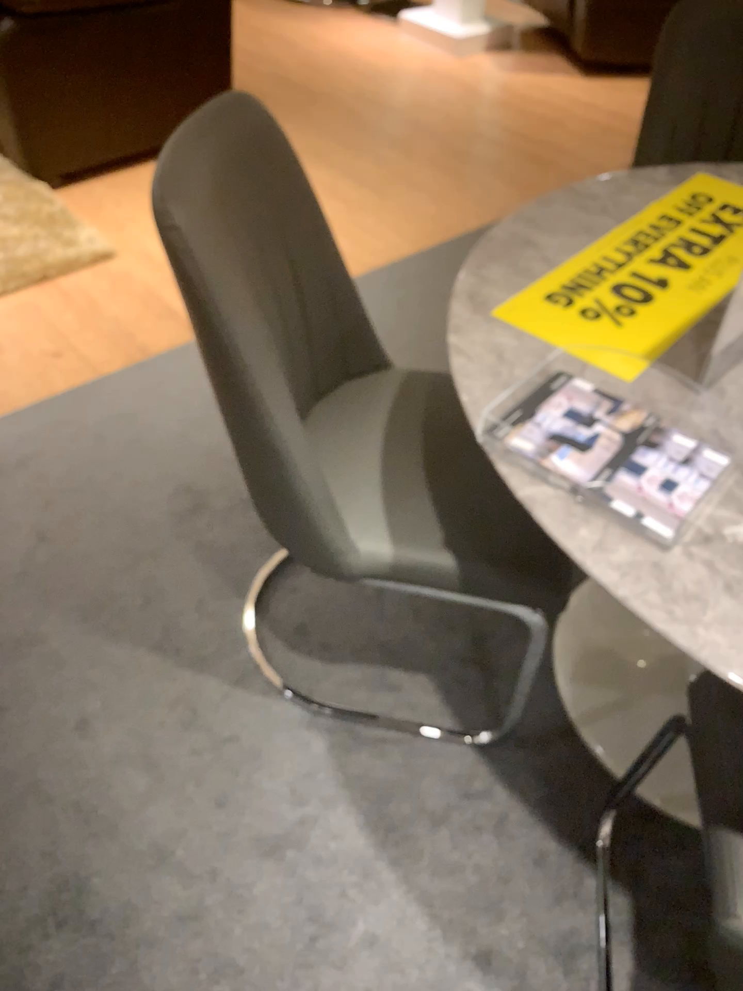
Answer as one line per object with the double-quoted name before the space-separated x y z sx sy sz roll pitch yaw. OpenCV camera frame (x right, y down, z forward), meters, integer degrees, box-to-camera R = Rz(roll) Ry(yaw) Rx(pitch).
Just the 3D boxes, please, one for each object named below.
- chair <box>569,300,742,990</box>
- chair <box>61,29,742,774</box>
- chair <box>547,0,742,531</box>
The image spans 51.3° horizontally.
"chair" 0.555 0.396 0.722 0.520 0.883 0.583 10 46 6
"chair" 0.057 -0.098 1.173 0.628 0.883 0.555 9 46 5
"chair" 0.748 -0.455 1.585 0.520 0.883 0.584 3 45 -1
